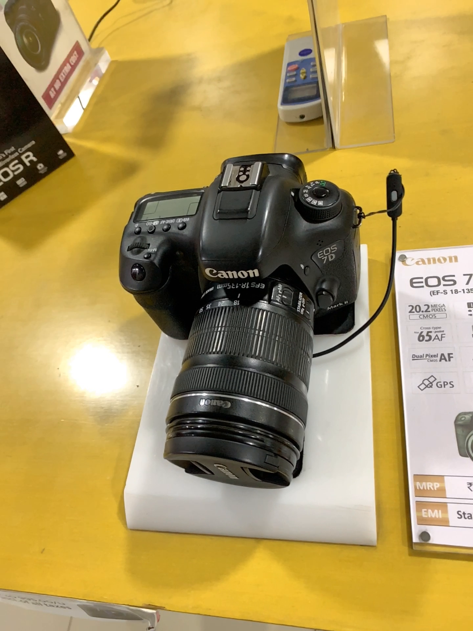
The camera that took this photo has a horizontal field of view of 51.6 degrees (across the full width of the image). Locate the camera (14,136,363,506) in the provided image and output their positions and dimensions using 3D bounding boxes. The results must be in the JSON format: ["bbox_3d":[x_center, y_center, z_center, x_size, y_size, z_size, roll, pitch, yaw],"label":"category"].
[{"bbox_3d":[-0.004,0.005,0.286,0.140,0.120,0.160,0,58,18],"label":"camera"}]
